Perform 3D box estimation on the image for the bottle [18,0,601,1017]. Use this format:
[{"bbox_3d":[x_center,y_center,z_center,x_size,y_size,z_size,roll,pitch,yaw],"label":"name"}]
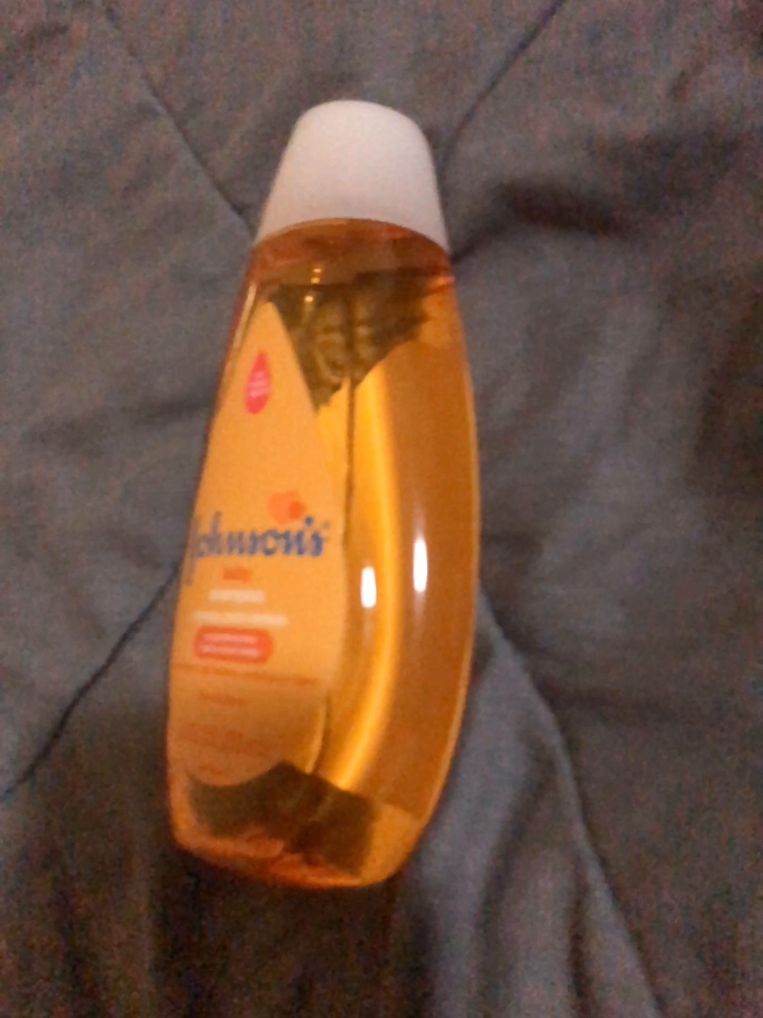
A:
[{"bbox_3d":[-0.015,-0.005,0.163,0.084,0.040,0.160,3,82,41],"label":"bottle"}]
